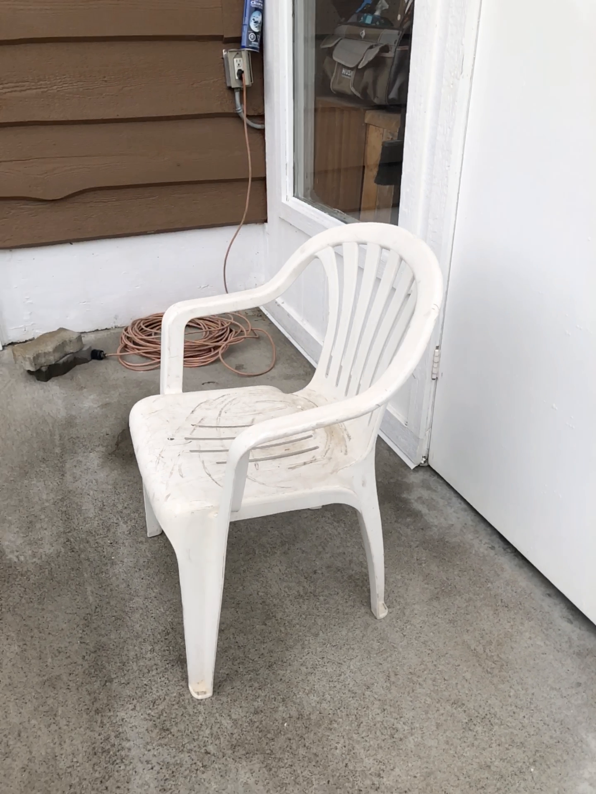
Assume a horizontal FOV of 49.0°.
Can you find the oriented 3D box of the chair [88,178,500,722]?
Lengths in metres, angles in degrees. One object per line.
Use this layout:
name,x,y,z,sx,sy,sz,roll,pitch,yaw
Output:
chair,-0.060,0.045,1.278,0.510,0.777,0.602,-10,30,-18
